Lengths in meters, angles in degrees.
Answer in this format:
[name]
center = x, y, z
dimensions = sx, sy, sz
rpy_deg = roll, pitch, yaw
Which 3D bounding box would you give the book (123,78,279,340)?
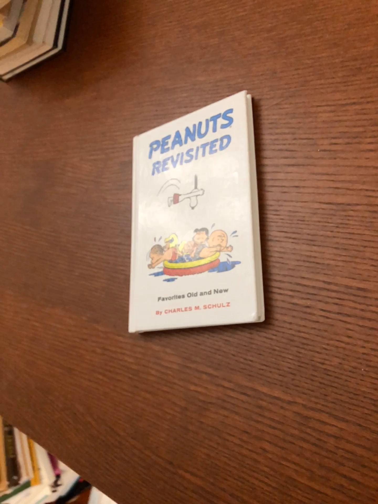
[book]
center = 0.003, -0.033, 0.394
dimensions = 0.150, 0.020, 0.220
rpy_deg = -12, 71, 35
